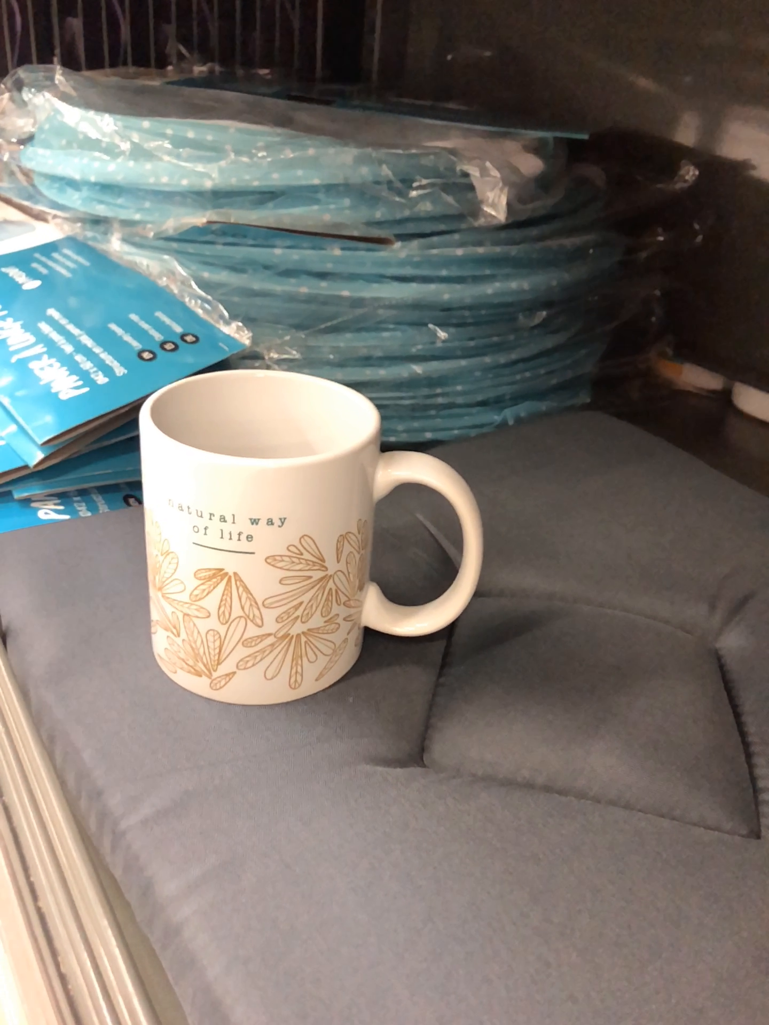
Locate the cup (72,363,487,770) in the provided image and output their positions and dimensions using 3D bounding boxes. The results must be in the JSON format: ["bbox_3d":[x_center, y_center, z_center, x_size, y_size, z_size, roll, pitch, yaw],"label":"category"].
[{"bbox_3d":[-0.031,0.014,0.311,0.120,0.099,0.091,8,27,6],"label":"cup"}]
